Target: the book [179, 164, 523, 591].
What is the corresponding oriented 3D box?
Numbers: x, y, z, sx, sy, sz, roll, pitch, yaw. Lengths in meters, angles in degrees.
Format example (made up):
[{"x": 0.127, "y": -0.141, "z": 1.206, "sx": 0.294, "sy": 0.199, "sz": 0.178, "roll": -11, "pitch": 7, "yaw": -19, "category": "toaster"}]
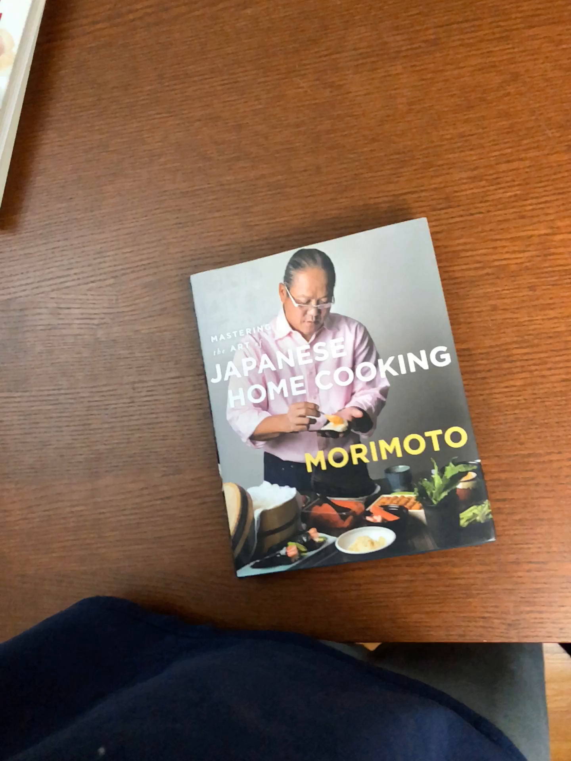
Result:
[{"x": 0.042, "y": -0.001, "z": 0.508, "sx": 0.220, "sy": 0.030, "sz": 0.300, "roll": -12, "pitch": 81, "yaw": 12, "category": "book"}]
